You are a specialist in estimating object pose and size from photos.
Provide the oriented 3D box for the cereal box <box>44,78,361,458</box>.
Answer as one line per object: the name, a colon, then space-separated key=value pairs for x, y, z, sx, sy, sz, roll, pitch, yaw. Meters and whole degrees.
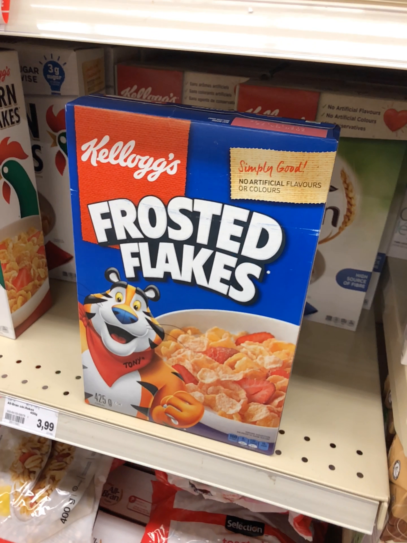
cereal box: x=-0.010 y=0.003 z=0.374 sx=0.210 sy=0.278 sz=0.060 roll=12 pitch=28 yaw=14
